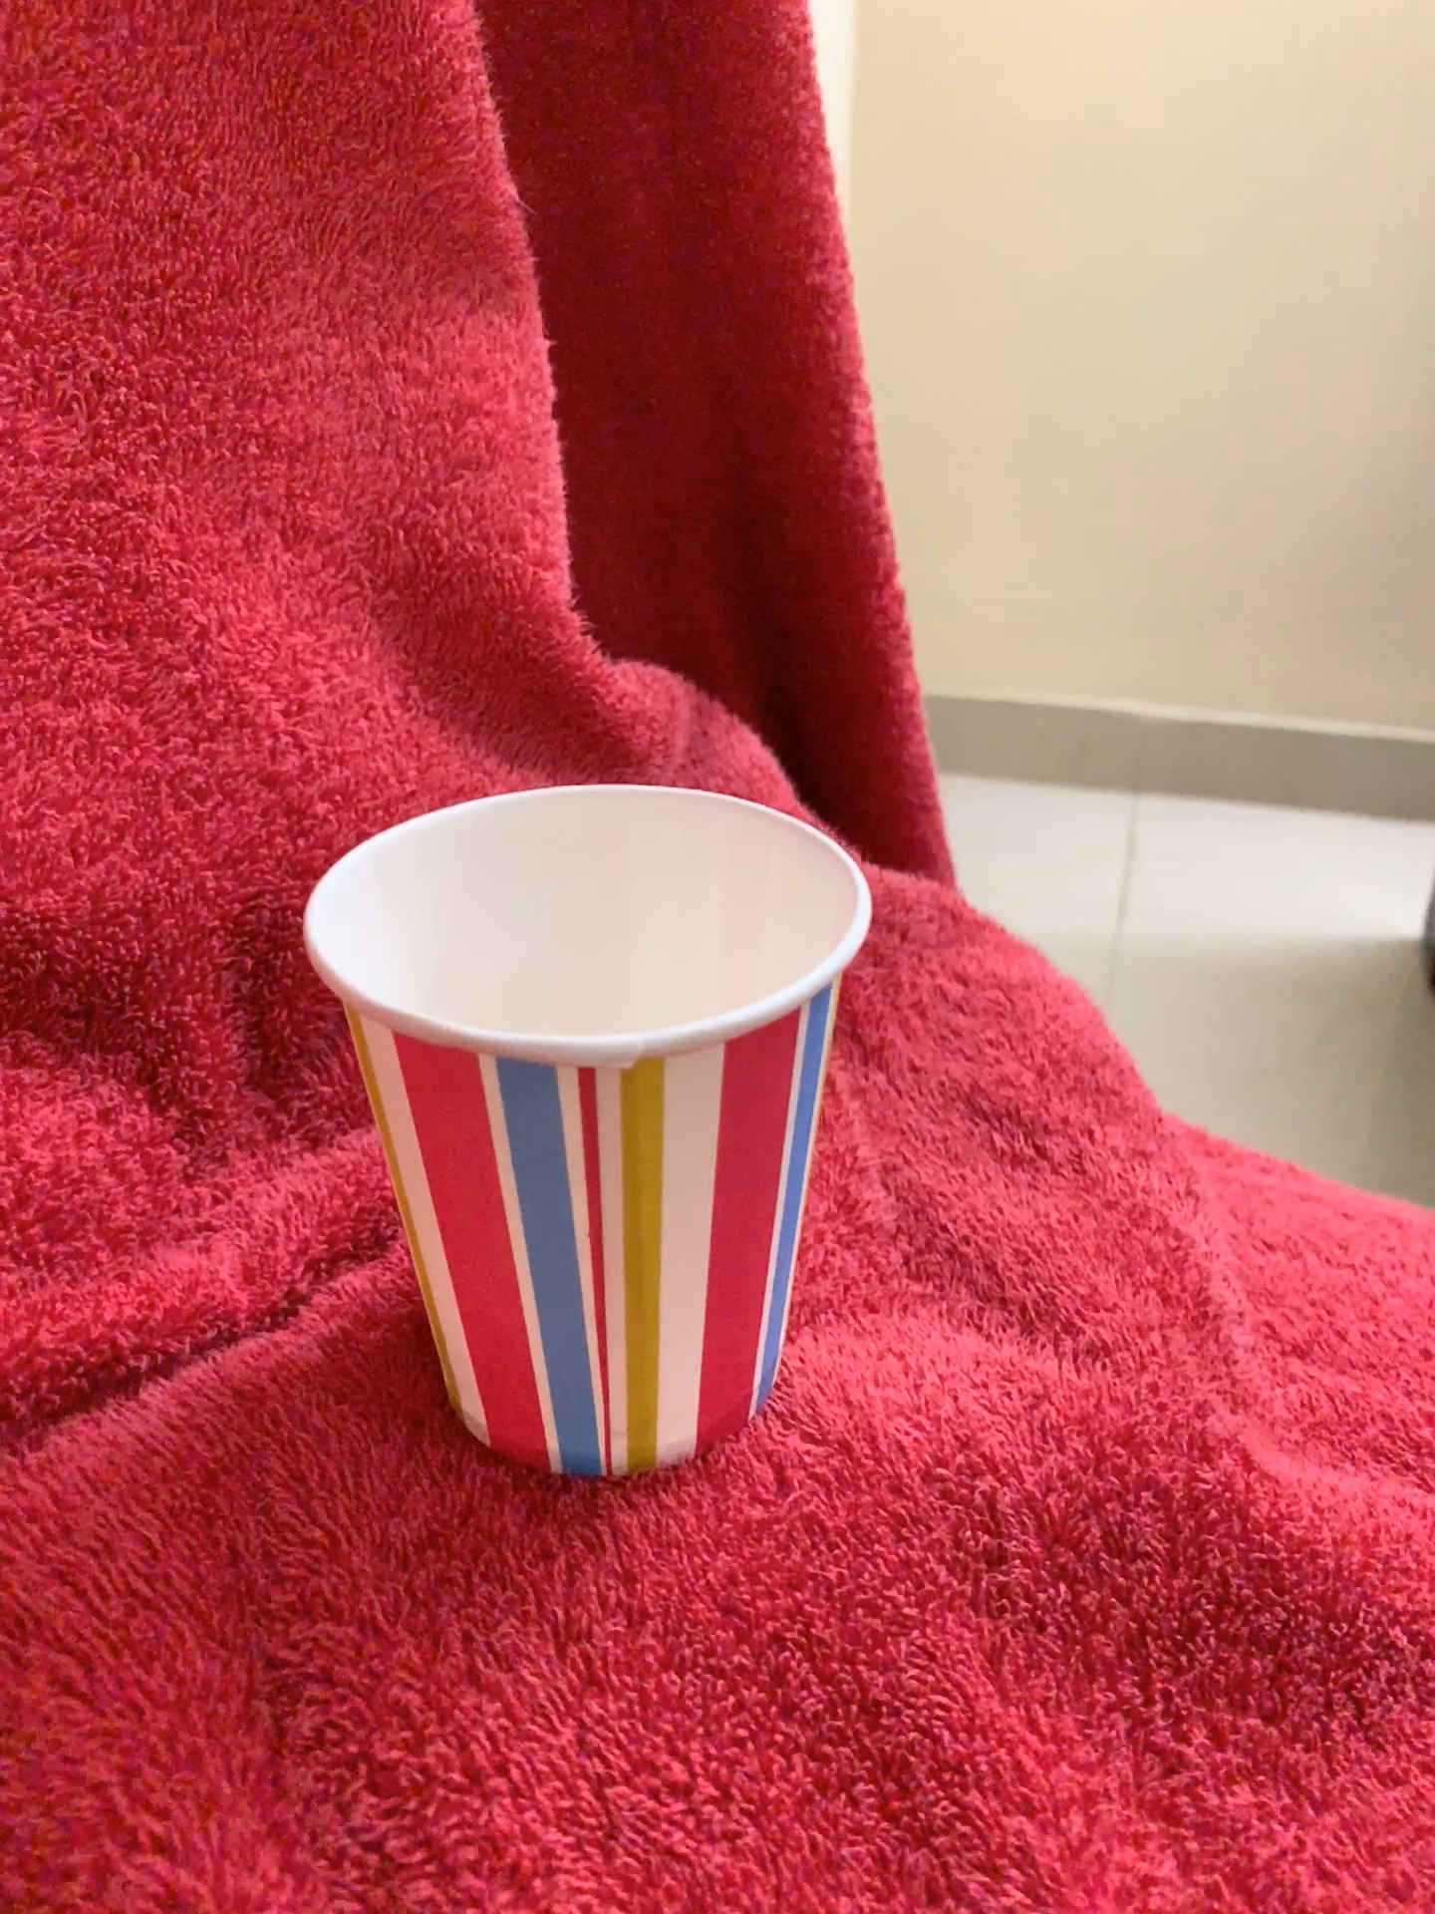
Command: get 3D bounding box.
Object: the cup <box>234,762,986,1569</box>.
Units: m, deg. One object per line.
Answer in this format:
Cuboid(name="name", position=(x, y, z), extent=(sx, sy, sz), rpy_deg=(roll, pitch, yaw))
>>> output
Cuboid(name="cup", position=(-0.011, 0.022, 0.187), extent=(0.070, 0.069, 0.071), rpy_deg=(0, 29, 0))
